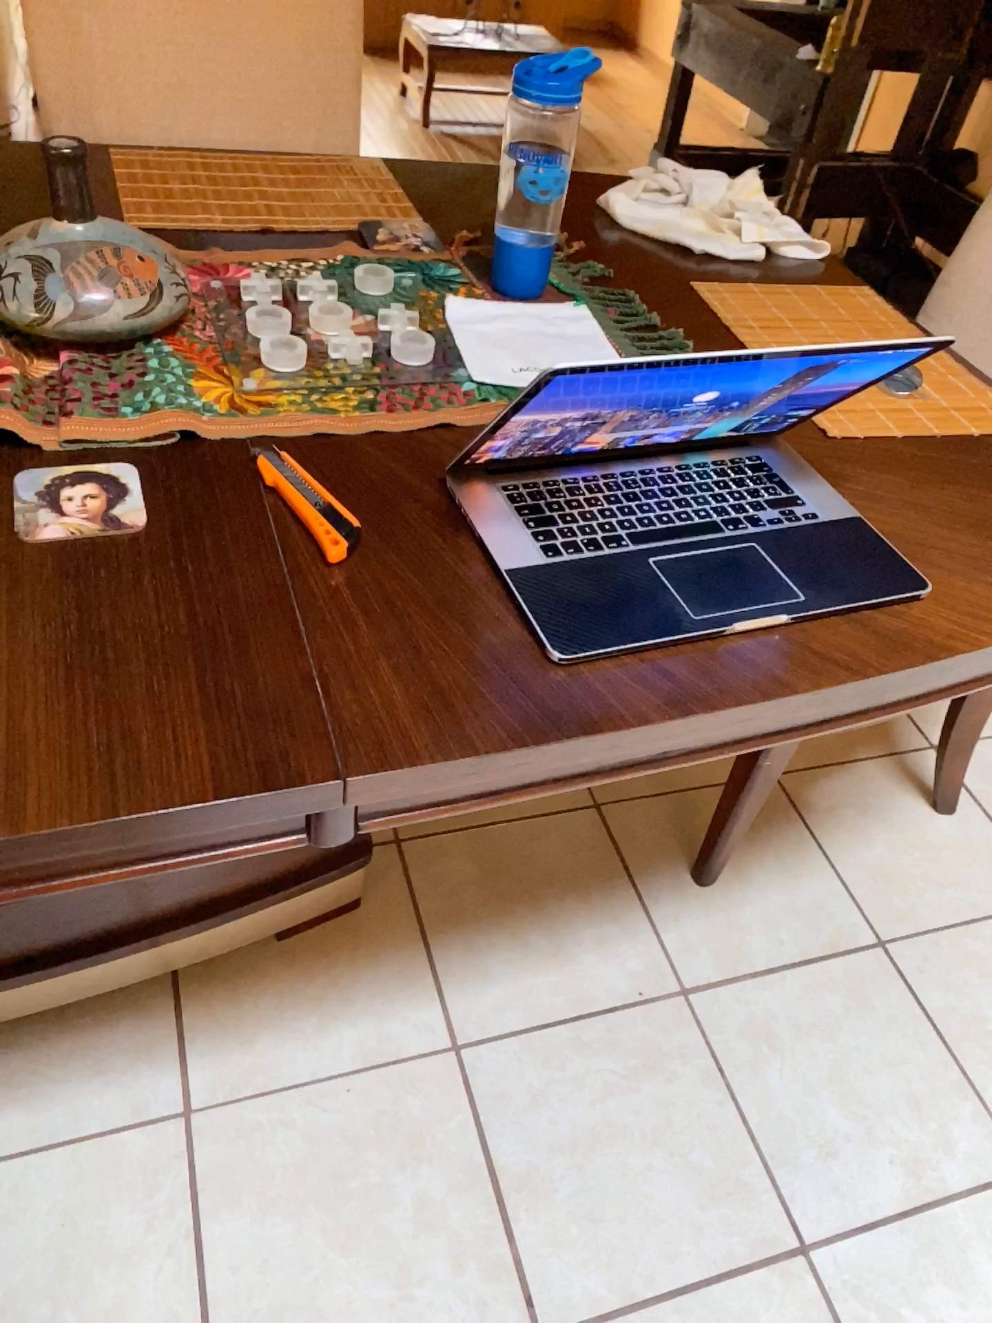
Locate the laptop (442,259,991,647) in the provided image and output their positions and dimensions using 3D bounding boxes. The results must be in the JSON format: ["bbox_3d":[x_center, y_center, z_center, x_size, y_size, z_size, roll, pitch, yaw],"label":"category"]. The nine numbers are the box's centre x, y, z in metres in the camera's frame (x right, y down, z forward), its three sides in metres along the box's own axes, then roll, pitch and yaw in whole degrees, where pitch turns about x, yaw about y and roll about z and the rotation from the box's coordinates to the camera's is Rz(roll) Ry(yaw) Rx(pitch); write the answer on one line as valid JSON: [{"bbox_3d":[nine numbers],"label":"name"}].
[{"bbox_3d":[0.169,-0.185,0.820,0.355,0.181,0.236,-10,46,-21],"label":"laptop"}]
